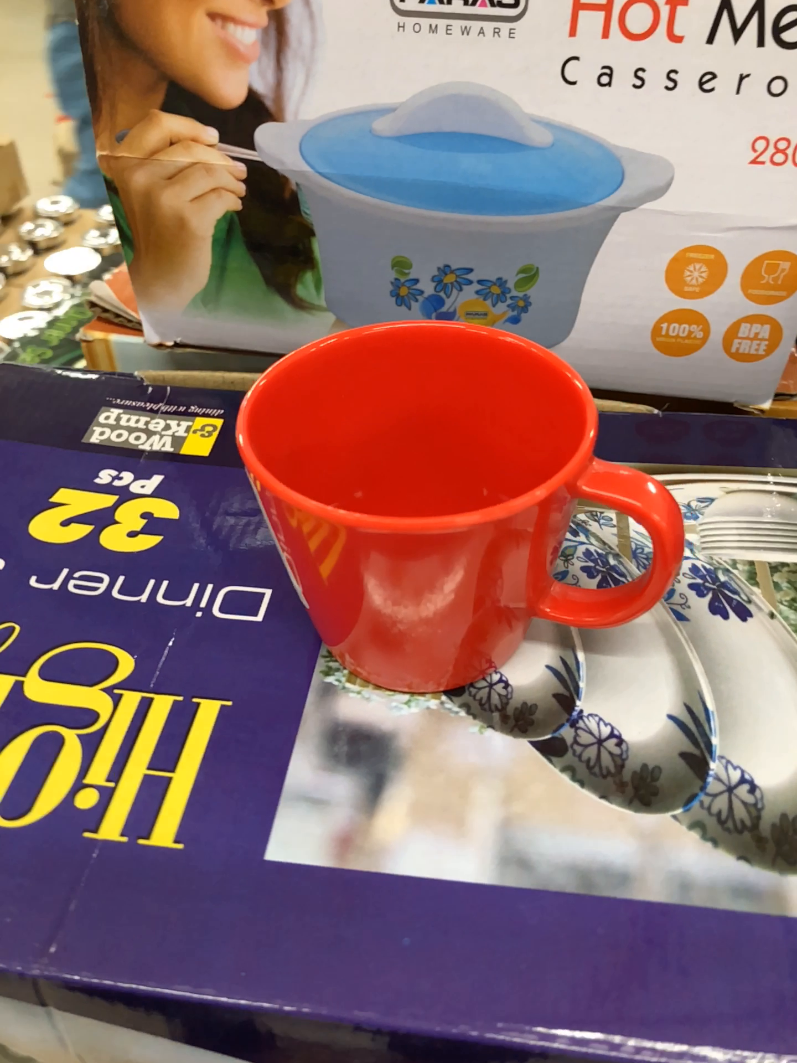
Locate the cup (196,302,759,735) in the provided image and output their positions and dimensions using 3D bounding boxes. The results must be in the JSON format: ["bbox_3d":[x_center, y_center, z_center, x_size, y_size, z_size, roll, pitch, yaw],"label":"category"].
[{"bbox_3d":[0.018,-0.008,0.204,0.100,0.050,0.081,6,42,6],"label":"cup"}]
